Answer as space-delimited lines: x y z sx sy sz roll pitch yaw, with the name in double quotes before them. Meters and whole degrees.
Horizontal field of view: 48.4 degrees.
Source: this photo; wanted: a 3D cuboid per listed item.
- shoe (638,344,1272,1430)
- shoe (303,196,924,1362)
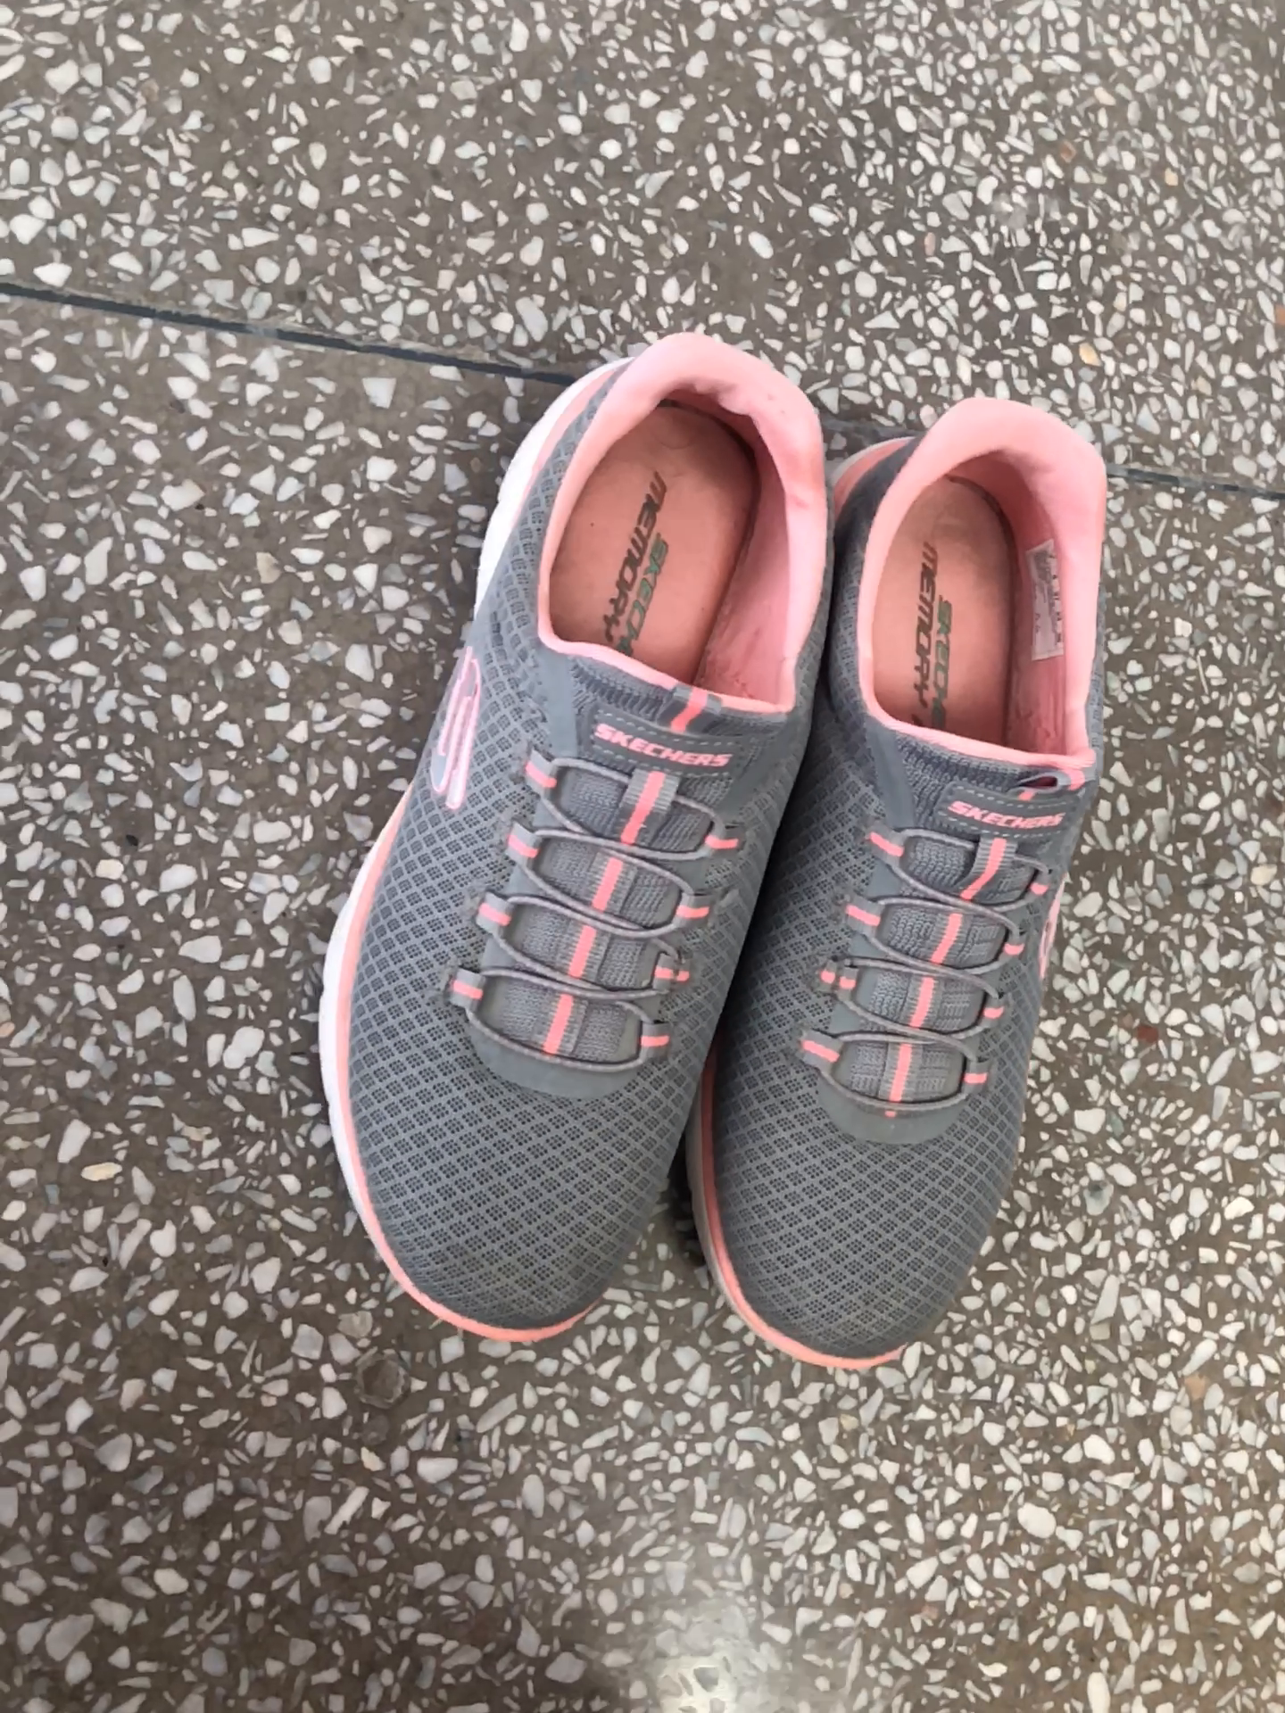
"shoe" 0.076 0.009 0.368 0.090 0.100 0.230 13 82 -13
"shoe" -0.012 -0.015 0.357 0.090 0.100 0.240 13 82 -13
